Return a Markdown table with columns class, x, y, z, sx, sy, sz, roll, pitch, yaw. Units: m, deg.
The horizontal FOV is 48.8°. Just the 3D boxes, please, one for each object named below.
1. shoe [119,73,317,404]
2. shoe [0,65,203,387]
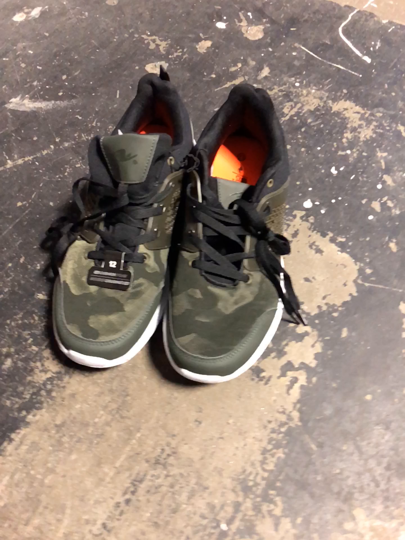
| class | x | y | z | sx | sy | sz | roll | pitch | yaw |
| --- | --- | --- | --- | --- | --- | --- | --- | --- | --- |
| shoe | 0.026 | -0.035 | 0.421 | 0.110 | 0.129 | 0.271 | 11 | 62 | 6 |
| shoe | -0.087 | -0.054 | 0.458 | 0.110 | 0.119 | 0.301 | 11 | 62 | 6 |
